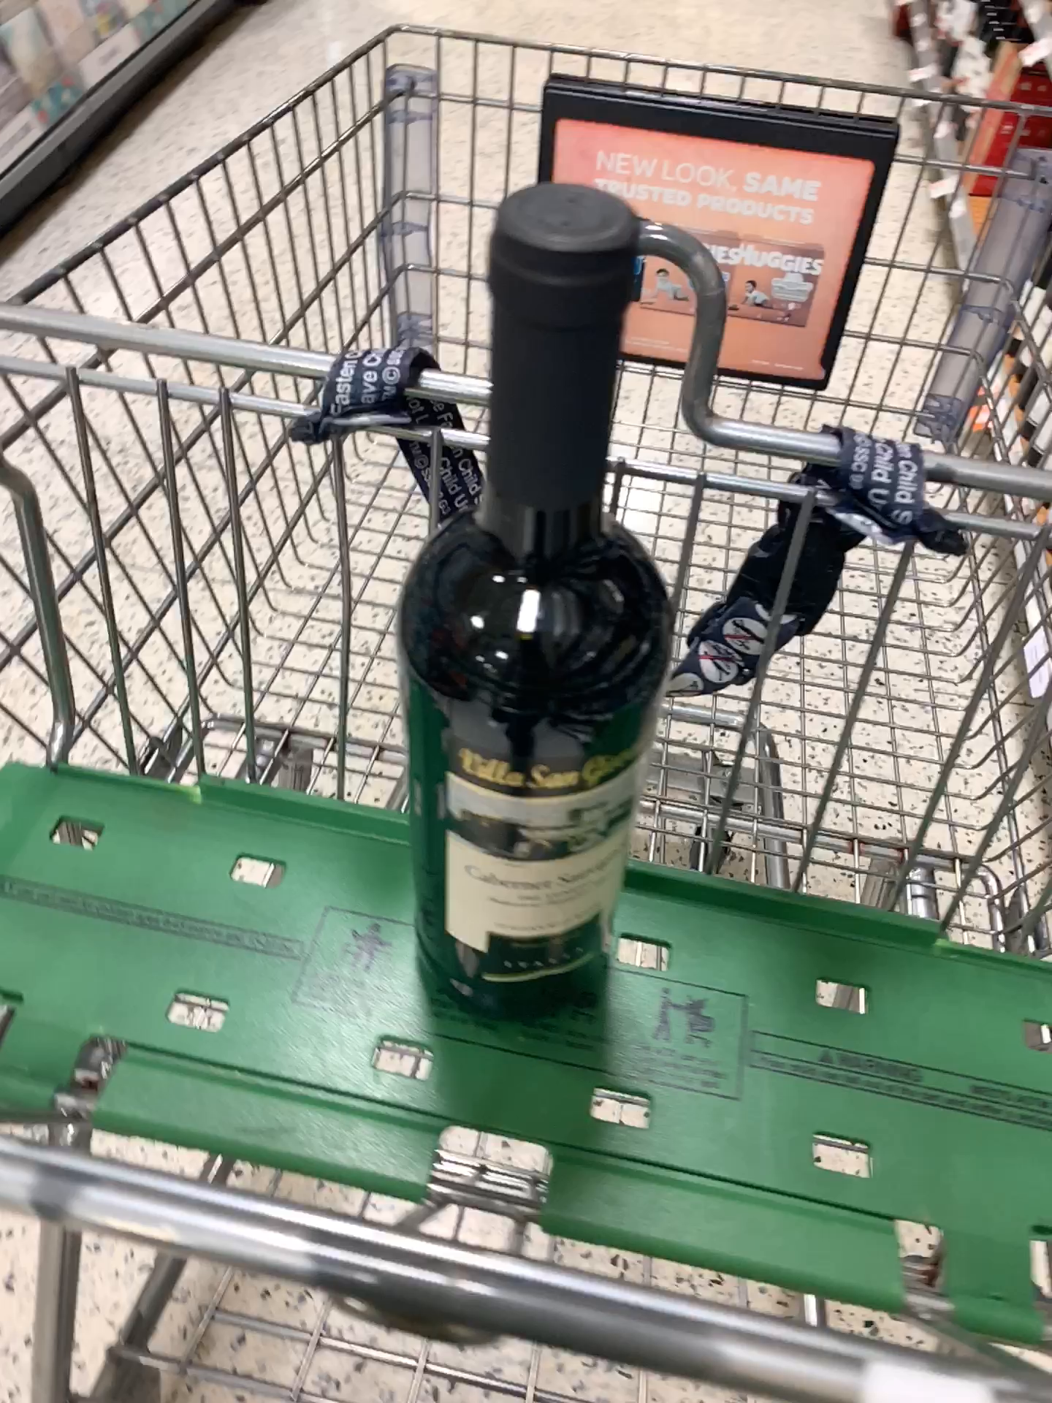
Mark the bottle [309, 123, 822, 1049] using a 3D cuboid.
[{"bbox_3d":[-0.003,-0.001,0.308,0.080,0.277,0.075,2,49,-2],"label":"bottle"}]
